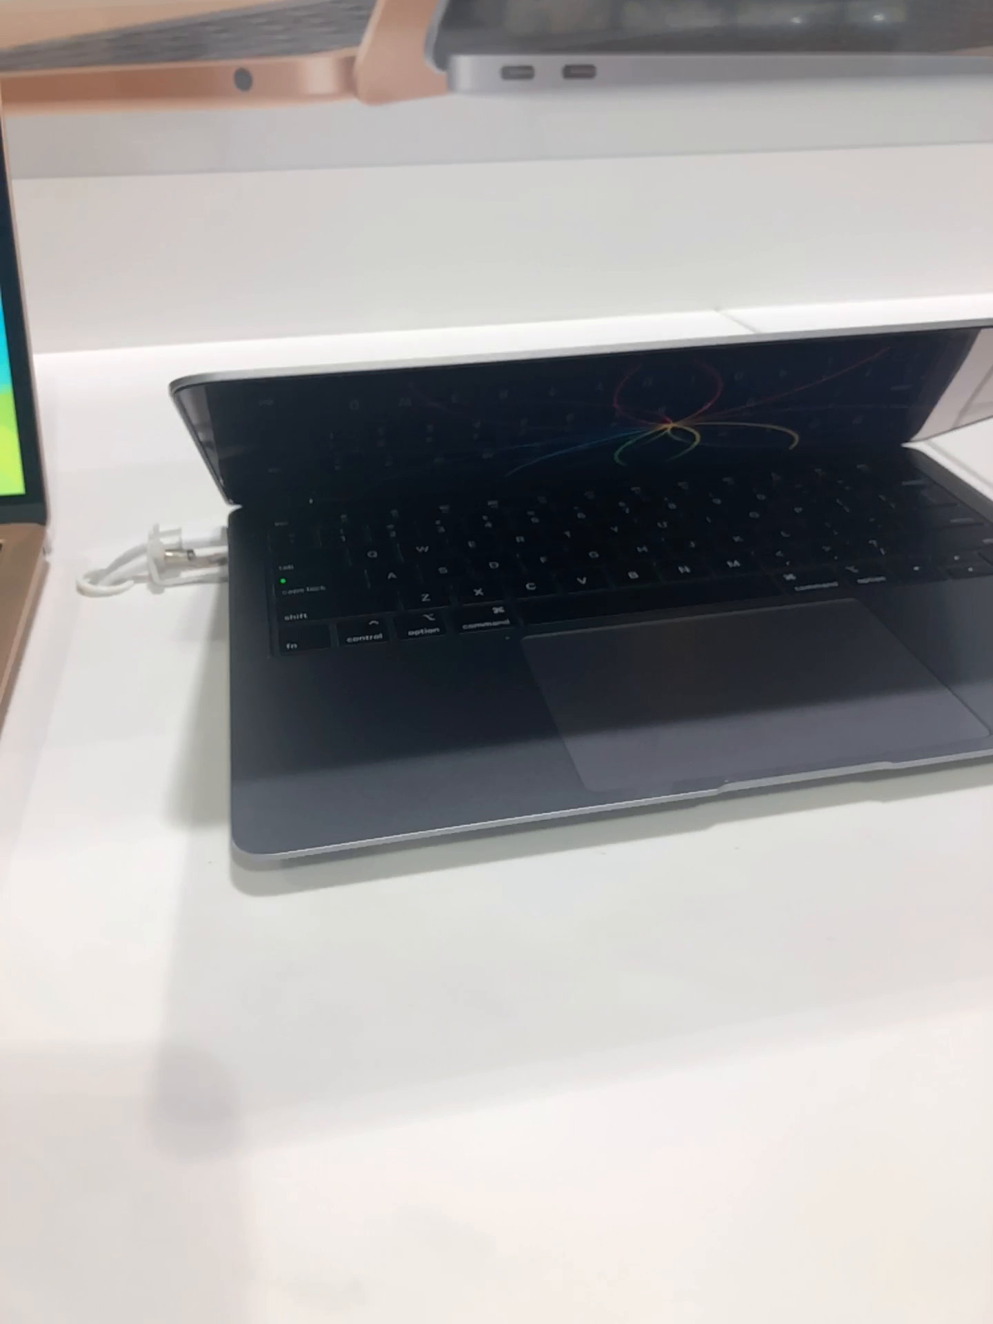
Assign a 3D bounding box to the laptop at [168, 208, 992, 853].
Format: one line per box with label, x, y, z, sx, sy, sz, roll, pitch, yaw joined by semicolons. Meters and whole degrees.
laptop;0.055;-0.066;0.352;0.288;0.102;0.200;-7;32;-11
